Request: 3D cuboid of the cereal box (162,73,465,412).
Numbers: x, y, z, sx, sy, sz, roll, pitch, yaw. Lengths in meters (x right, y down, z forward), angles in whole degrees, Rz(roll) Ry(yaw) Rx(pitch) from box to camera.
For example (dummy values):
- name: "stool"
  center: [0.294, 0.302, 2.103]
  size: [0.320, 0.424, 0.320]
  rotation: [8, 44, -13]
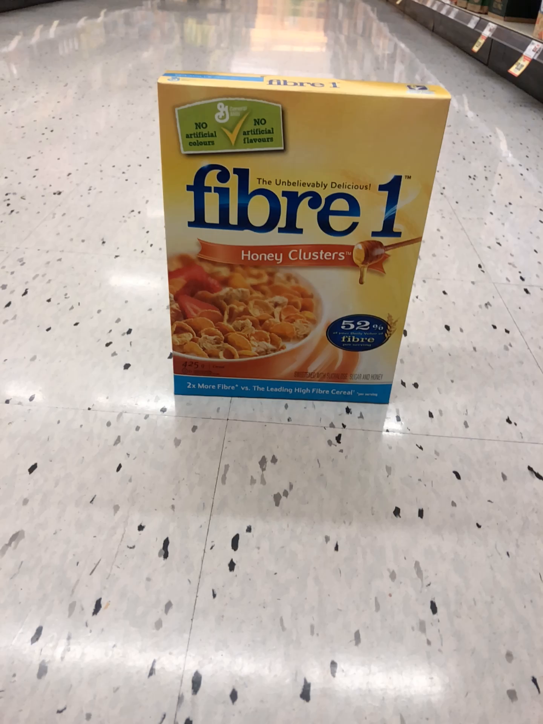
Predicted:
- name: "cereal box"
  center: [0.020, -0.078, 0.463]
  size: [0.190, 0.248, 0.050]
  rotation: [3, 34, -2]
